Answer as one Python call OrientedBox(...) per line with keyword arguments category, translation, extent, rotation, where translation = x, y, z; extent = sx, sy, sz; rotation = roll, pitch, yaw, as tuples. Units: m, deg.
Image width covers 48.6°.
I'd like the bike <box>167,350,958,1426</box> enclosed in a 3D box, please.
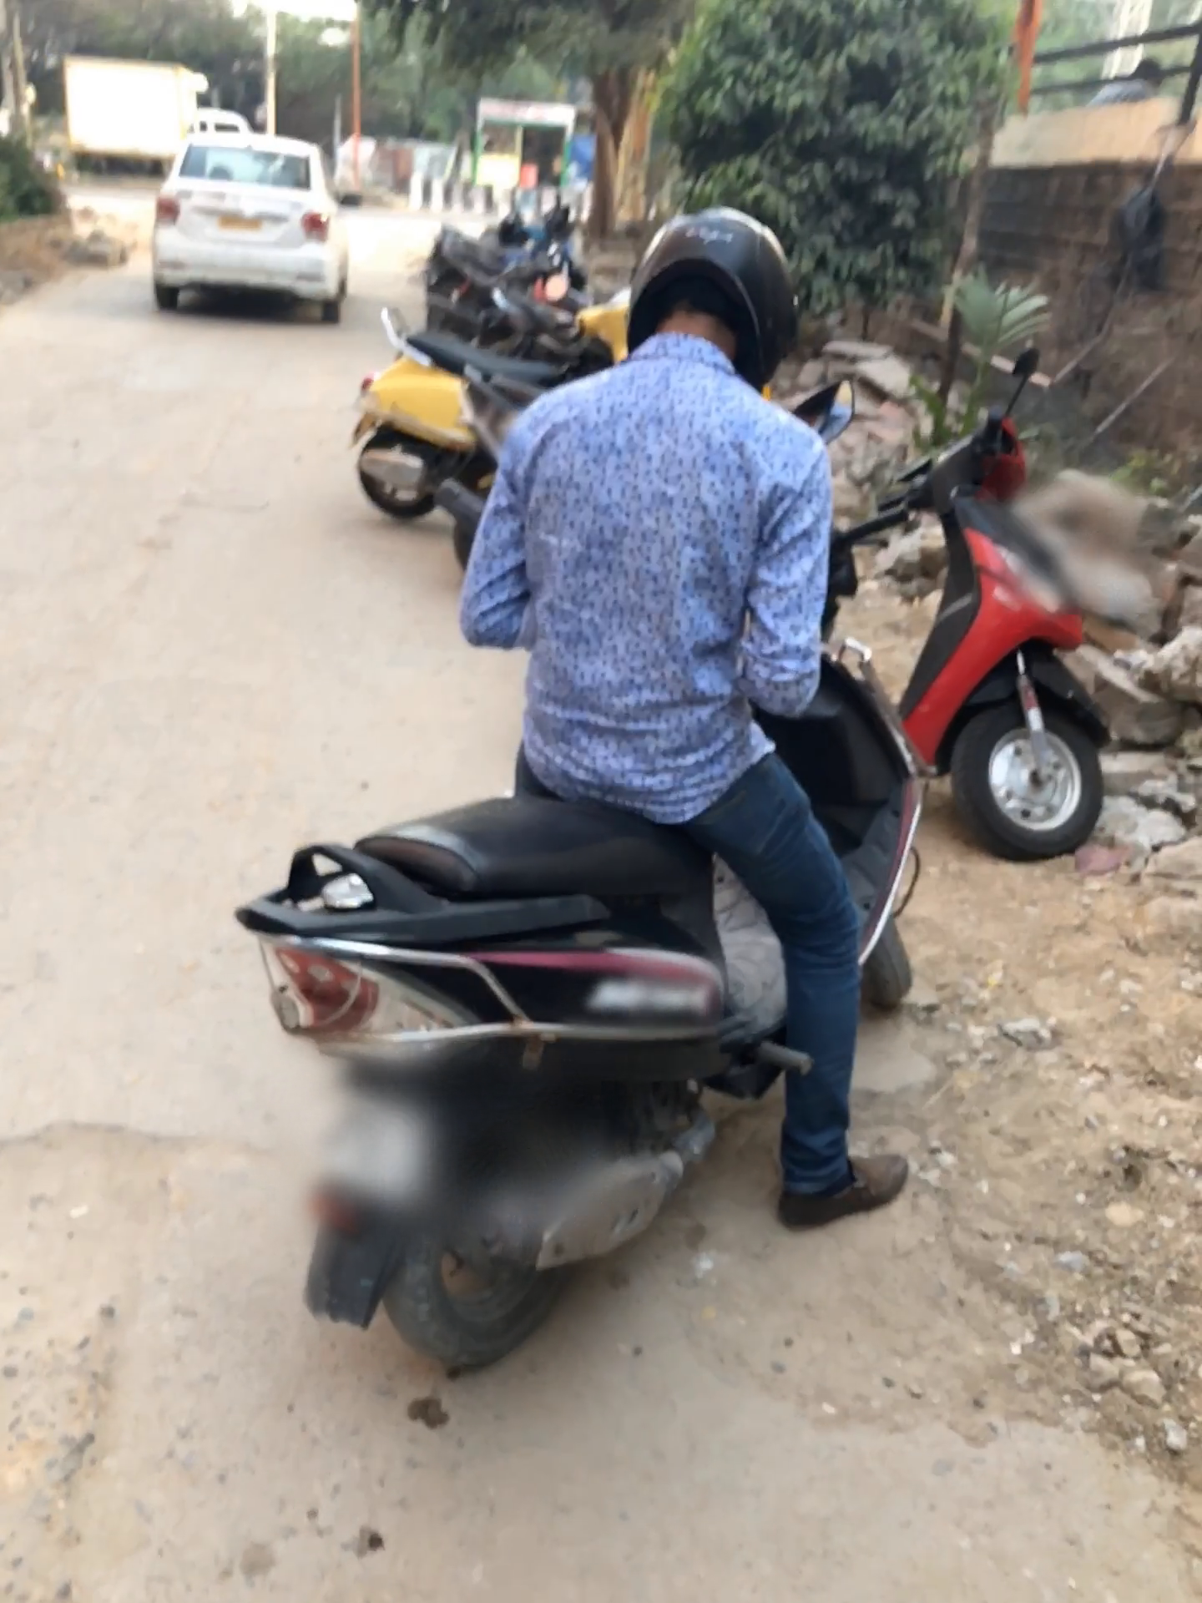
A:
OrientedBox(category="bike", translation=(0.017, -0.052, 2.249), extent=(0.560, 1.055, 1.480), rotation=(18, 30, 24))
